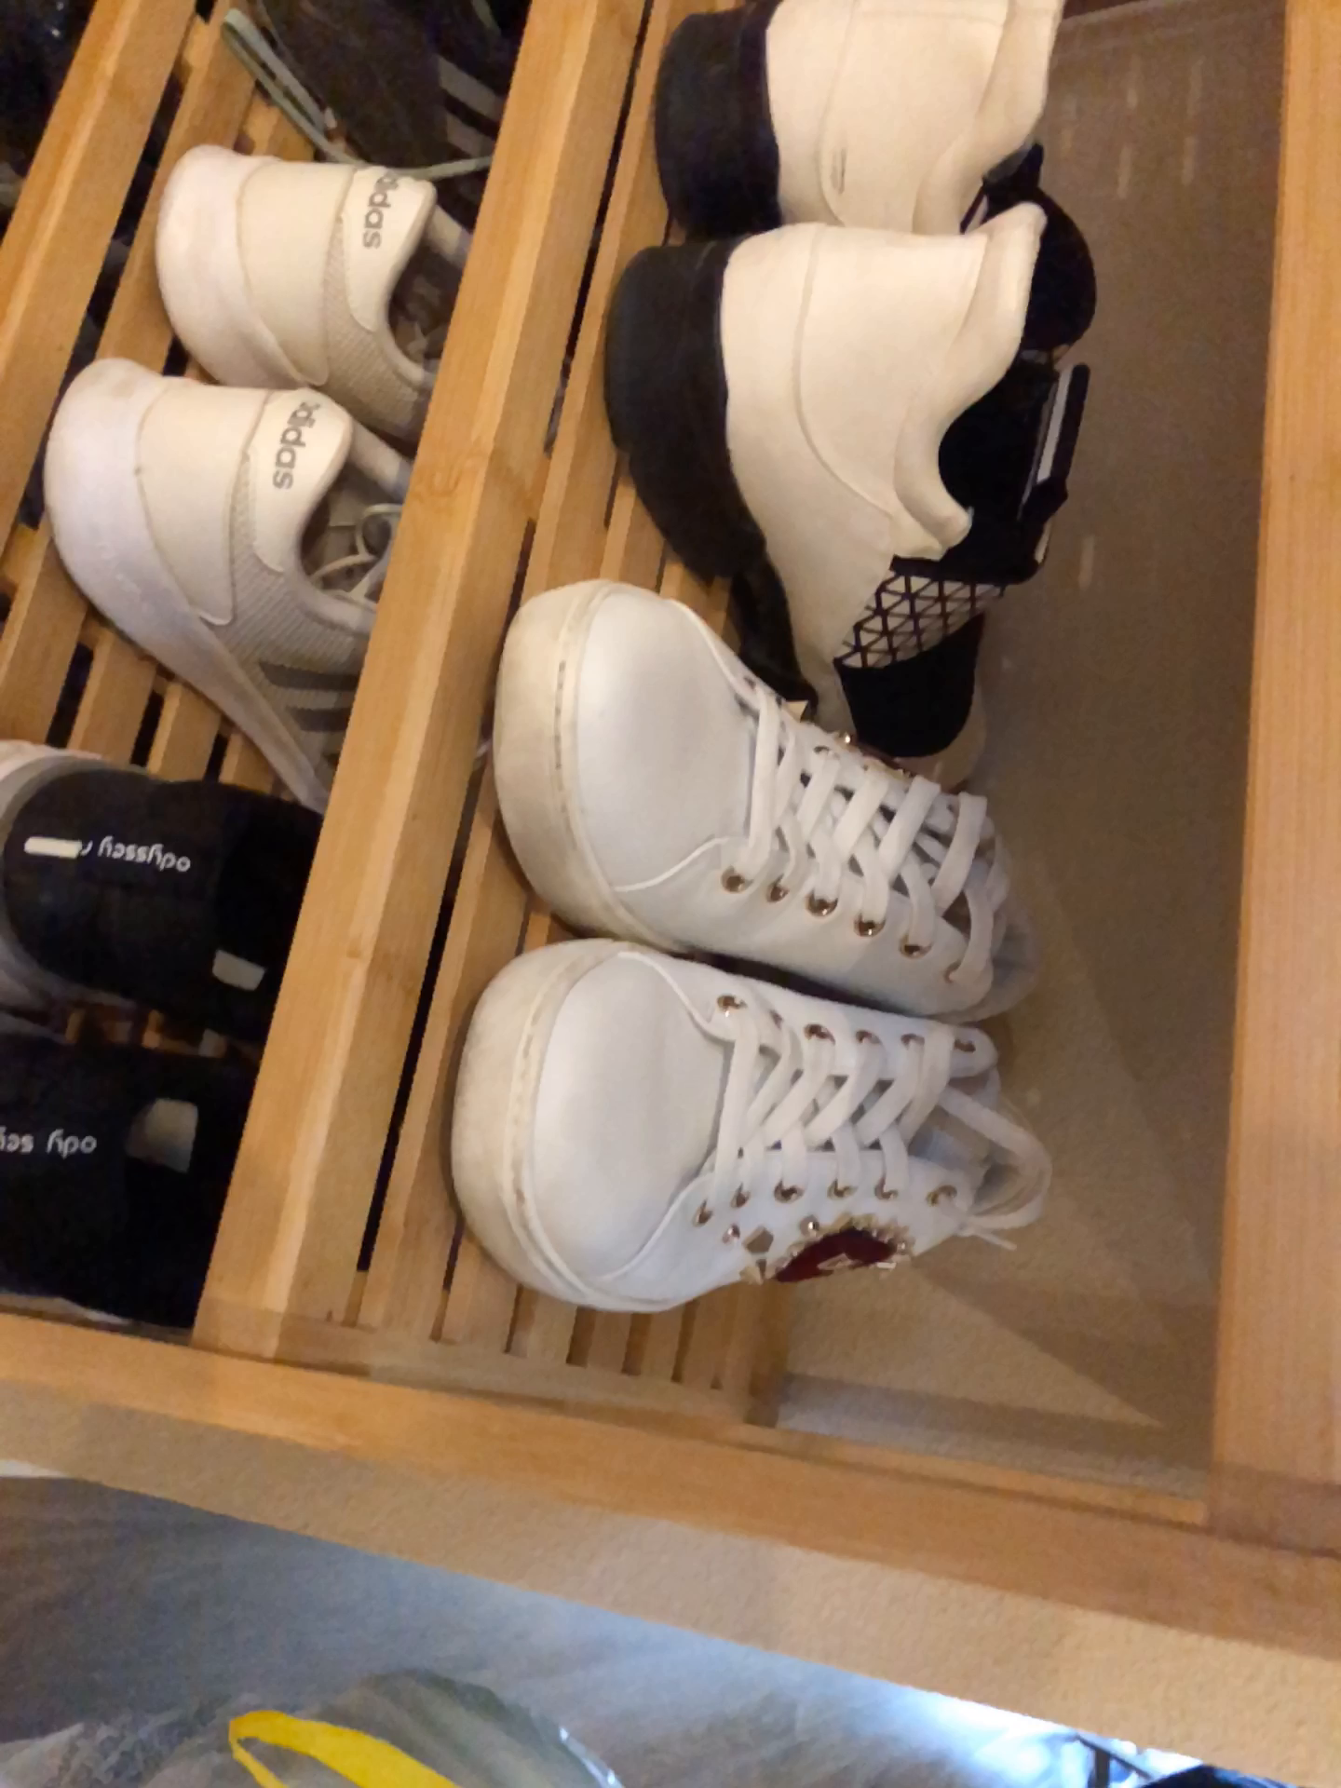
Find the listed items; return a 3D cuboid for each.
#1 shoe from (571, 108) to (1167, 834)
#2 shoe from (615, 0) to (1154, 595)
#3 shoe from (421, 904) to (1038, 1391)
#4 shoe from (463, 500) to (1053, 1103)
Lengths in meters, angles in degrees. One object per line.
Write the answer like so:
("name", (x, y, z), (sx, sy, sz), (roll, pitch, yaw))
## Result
("shoe", (0.076, -0.107, 0.458), (0.211, 0.113, 0.090), (47, 50, -55))
("shoe", (0.086, -0.204, 0.502), (0.211, 0.113, 0.090), (47, 50, -55))
("shoe", (0.039, 0.067, 0.446), (0.262, 0.080, 0.100), (15, 78, -63))
("shoe", (0.046, -0.006, 0.428), (0.252, 0.070, 0.090), (32, 62, -60))
